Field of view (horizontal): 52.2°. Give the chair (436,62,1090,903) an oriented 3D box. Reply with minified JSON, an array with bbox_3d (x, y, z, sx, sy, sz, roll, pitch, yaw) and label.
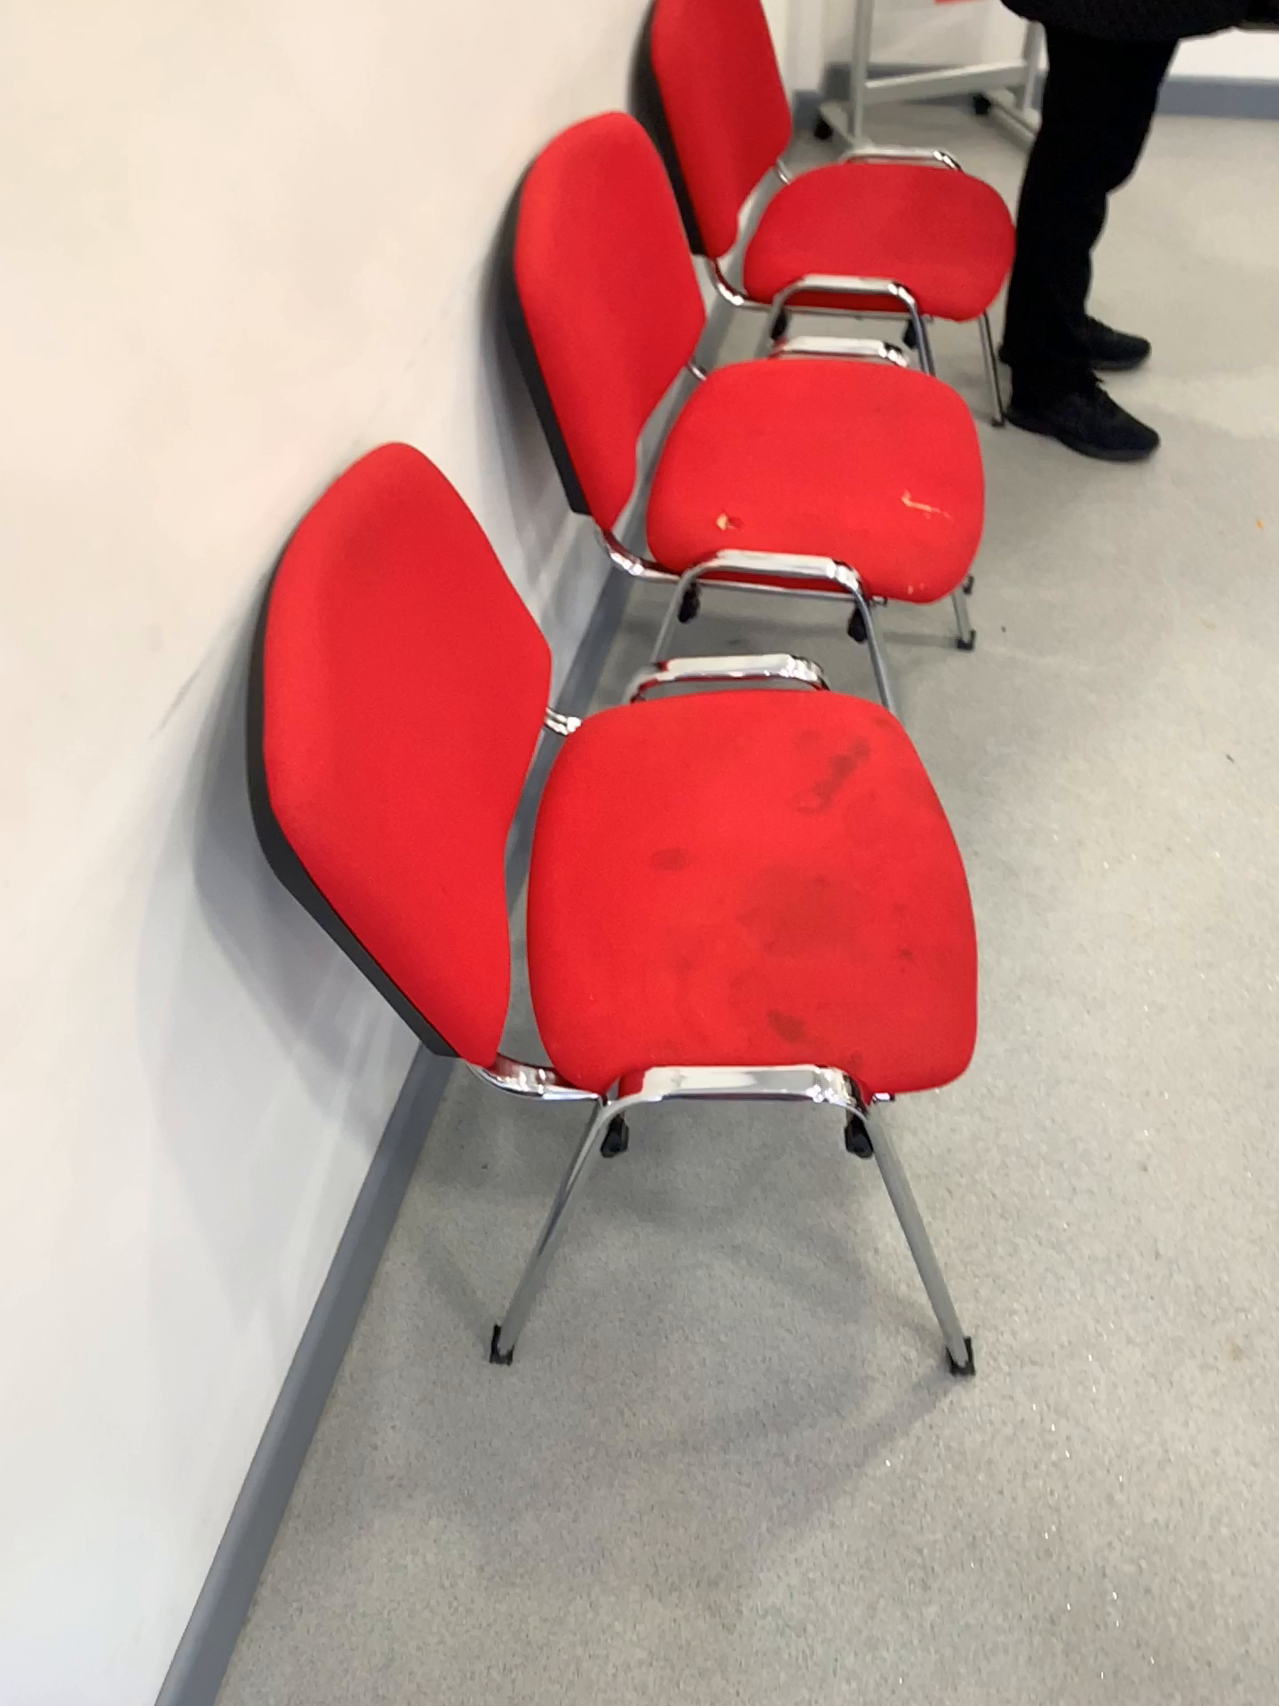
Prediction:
[{"bbox_3d":[0.176,-0.452,1.658,0.588,0.793,0.572,9,49,11],"label":"chair"}]

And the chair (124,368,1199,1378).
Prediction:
[{"bbox_3d":[0.033,0.047,1.243,0.628,0.753,0.602,0,48,3],"label":"chair"}]
